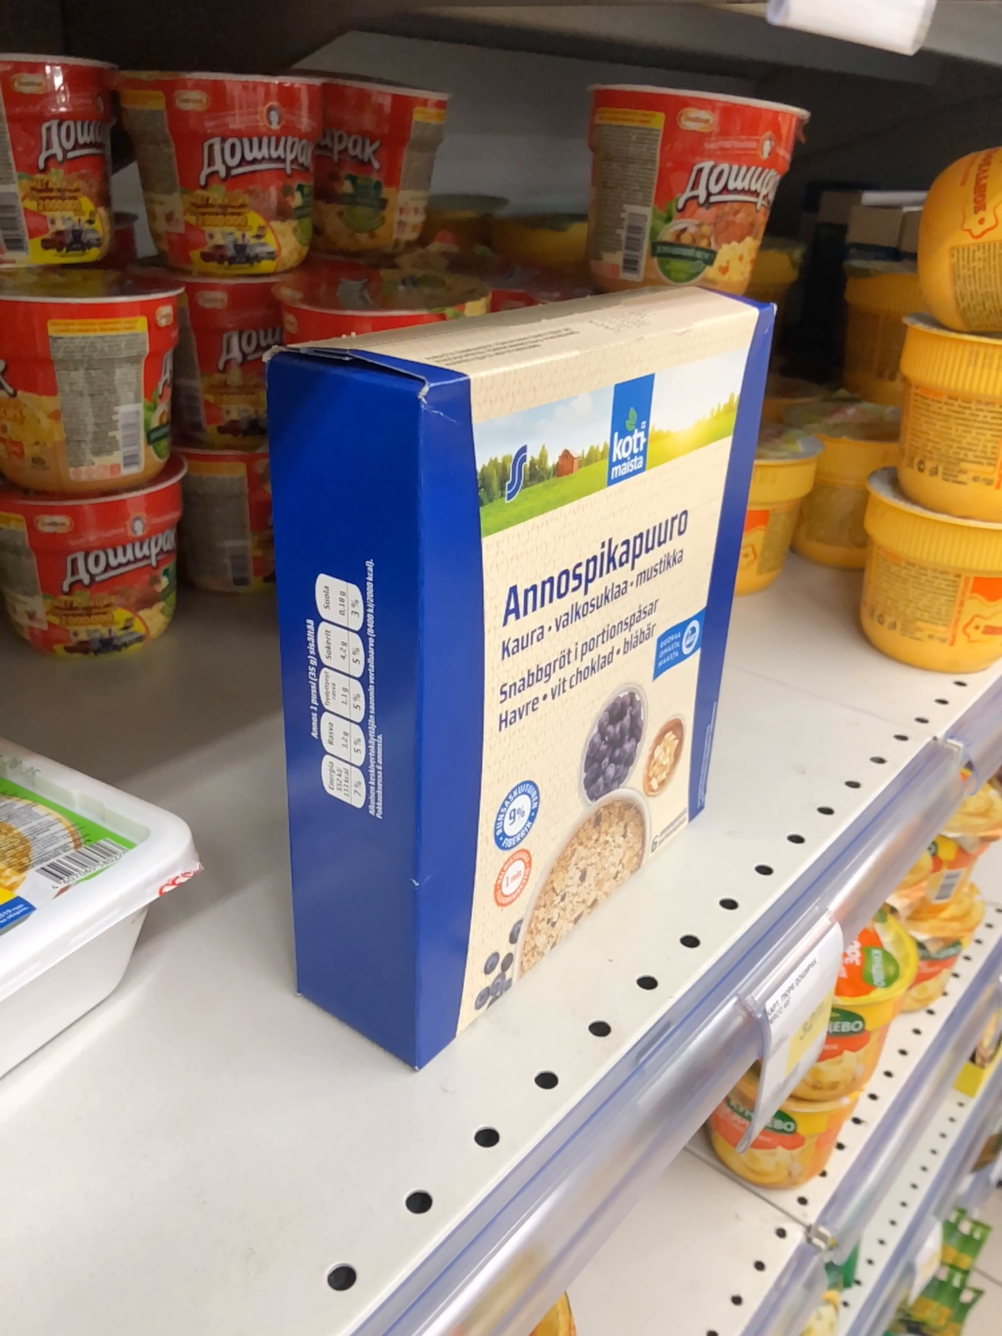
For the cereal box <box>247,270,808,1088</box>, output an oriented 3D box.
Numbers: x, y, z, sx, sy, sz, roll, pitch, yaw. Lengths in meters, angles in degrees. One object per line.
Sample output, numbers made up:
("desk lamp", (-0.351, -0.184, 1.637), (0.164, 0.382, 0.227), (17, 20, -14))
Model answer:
("cereal box", (0.015, -0.010, 0.317), (0.050, 0.179, 0.171), (21, 32, 31))
